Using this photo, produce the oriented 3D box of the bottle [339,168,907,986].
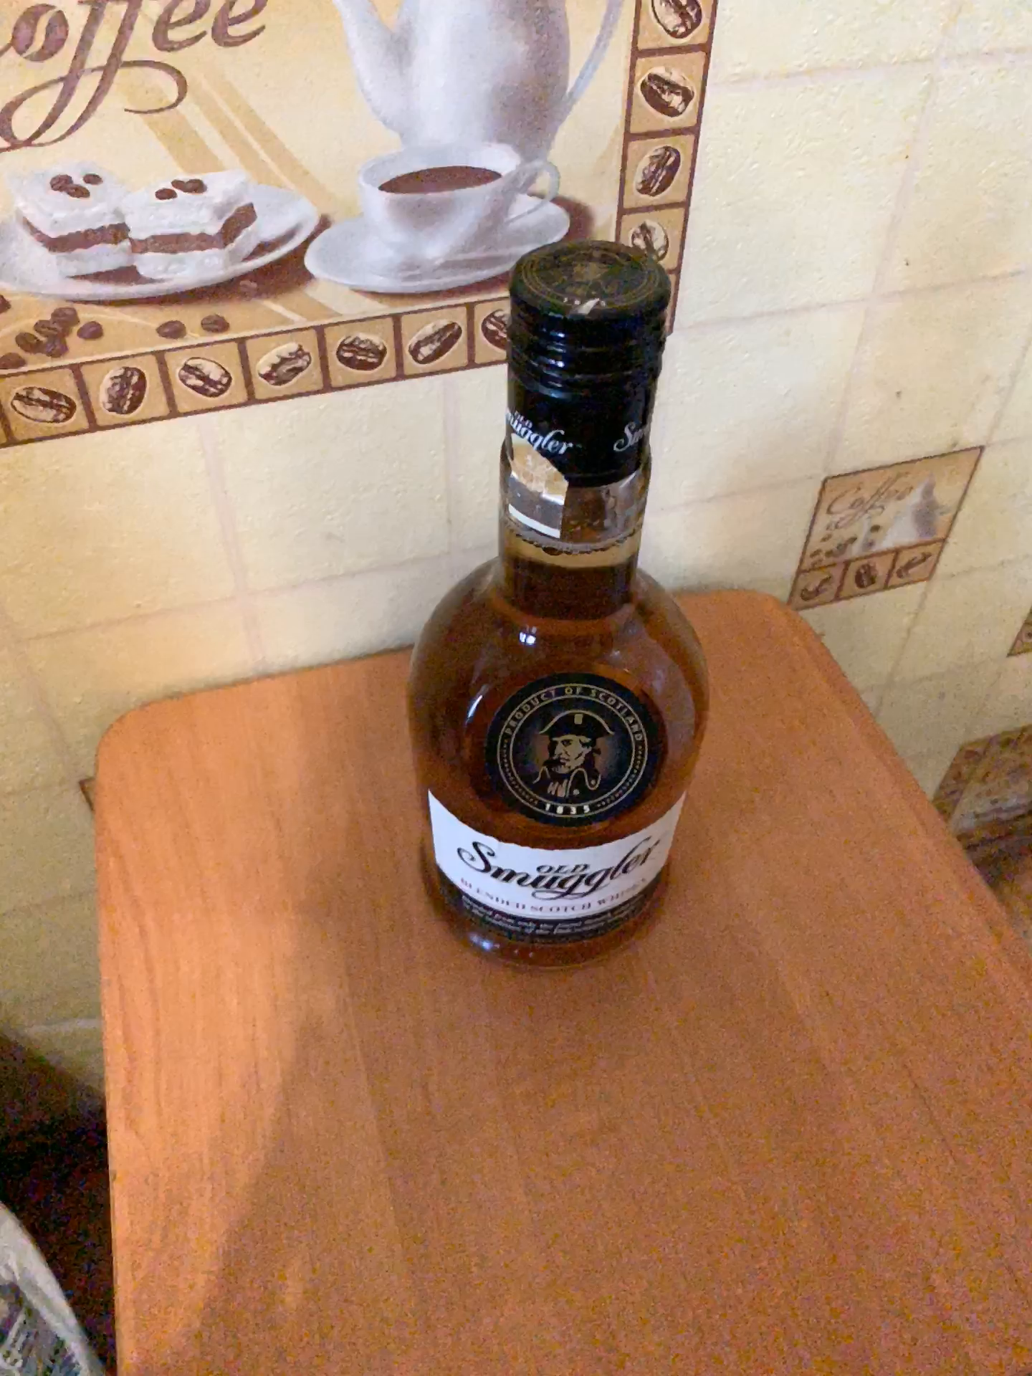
[{"bbox_3d":[0.015,-0.010,0.298,0.100,0.229,0.080,-1,47,-3],"label":"bottle"}]
